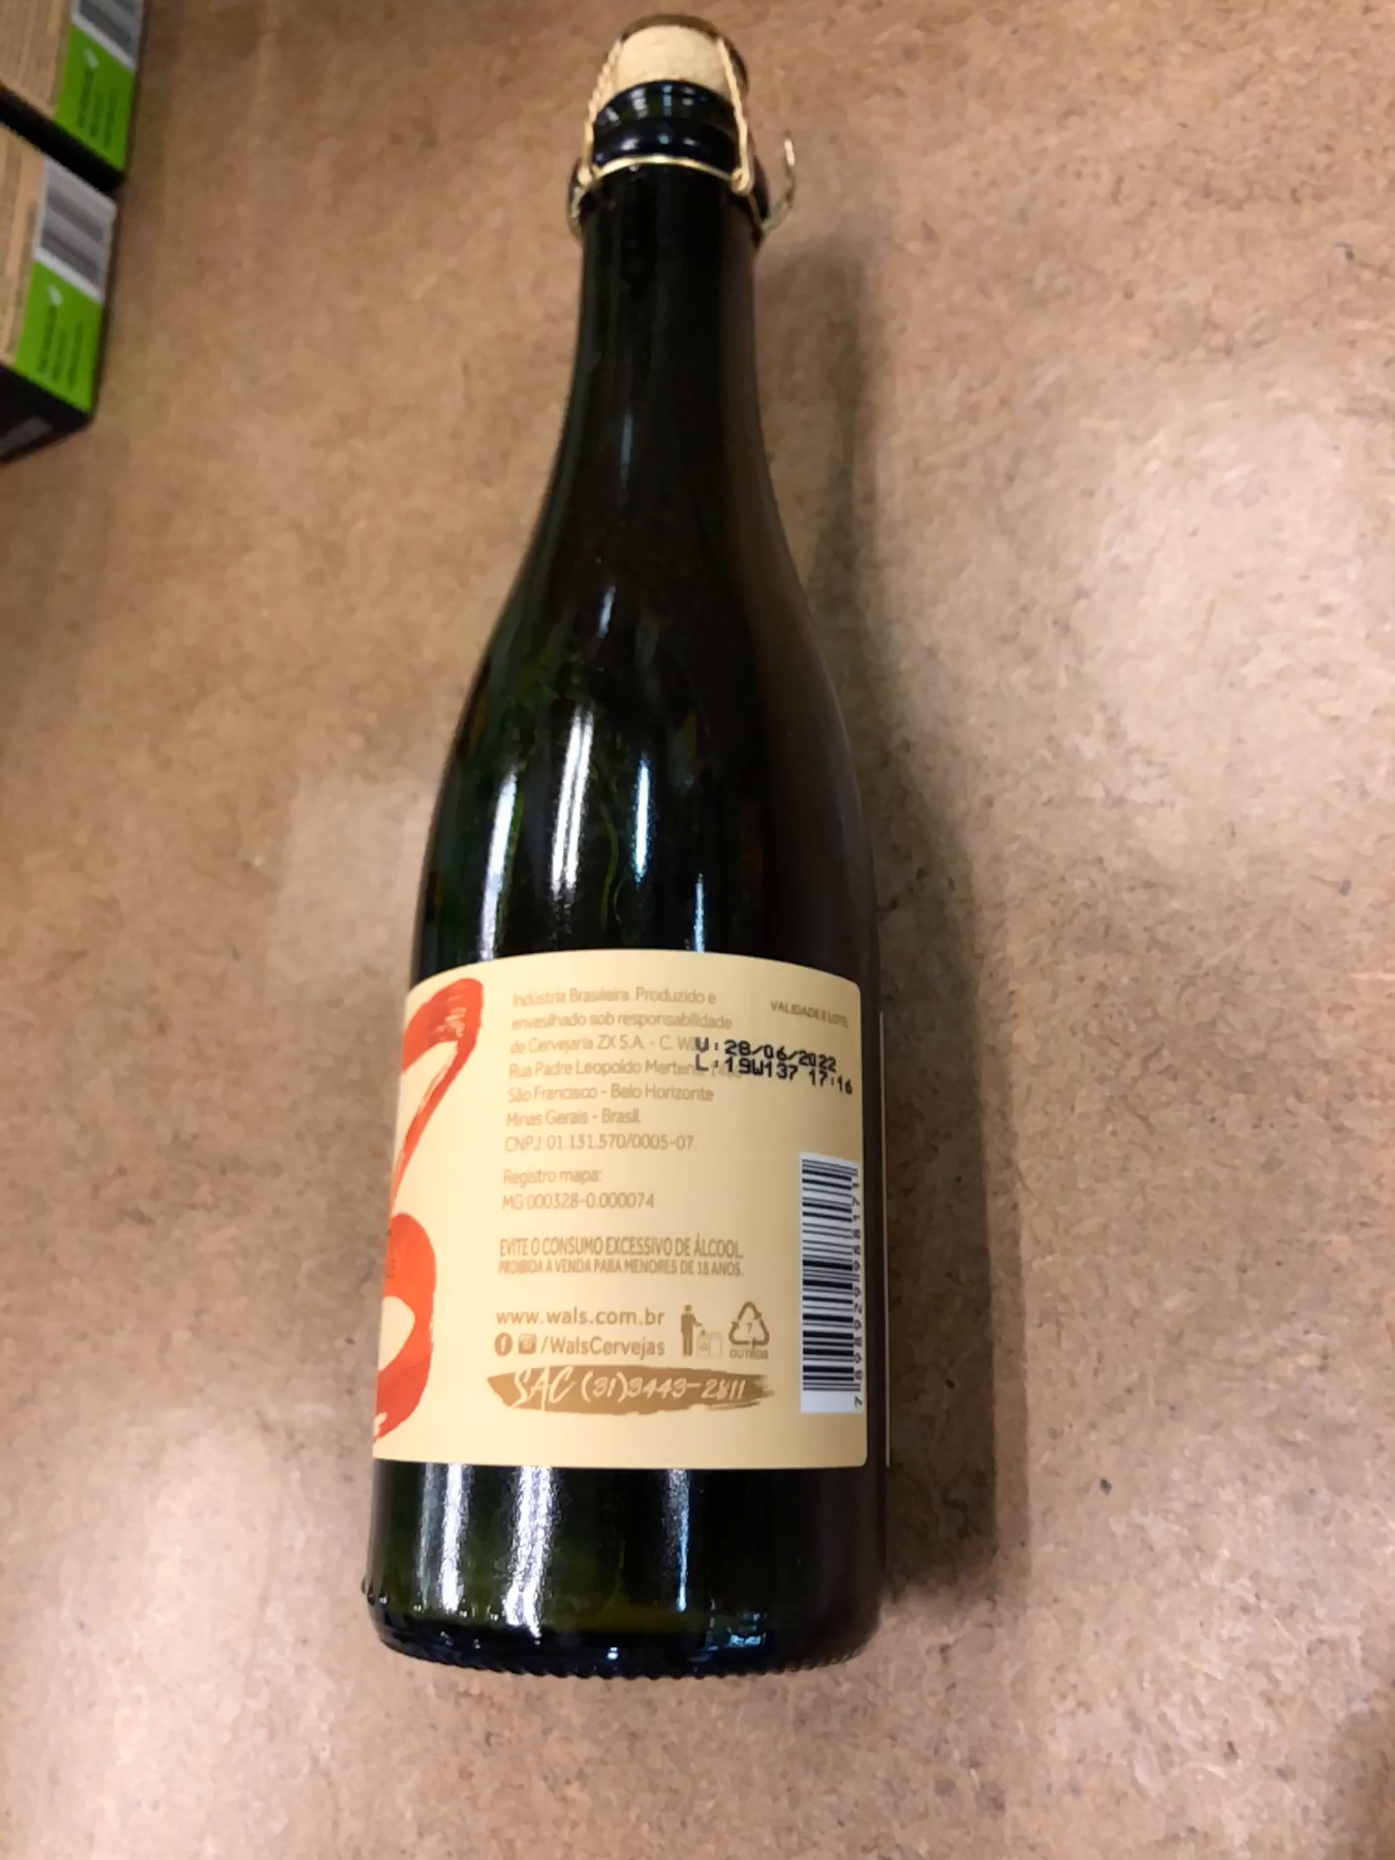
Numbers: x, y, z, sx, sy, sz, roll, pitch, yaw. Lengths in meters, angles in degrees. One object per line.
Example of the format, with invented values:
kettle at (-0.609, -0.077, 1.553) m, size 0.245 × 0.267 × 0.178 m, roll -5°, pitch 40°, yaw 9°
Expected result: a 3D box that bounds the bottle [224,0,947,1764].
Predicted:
bottle at (-0.010, -0.039, 0.226) m, size 0.070 × 0.050 × 0.270 m, roll -9°, pitch 70°, yaw 30°
